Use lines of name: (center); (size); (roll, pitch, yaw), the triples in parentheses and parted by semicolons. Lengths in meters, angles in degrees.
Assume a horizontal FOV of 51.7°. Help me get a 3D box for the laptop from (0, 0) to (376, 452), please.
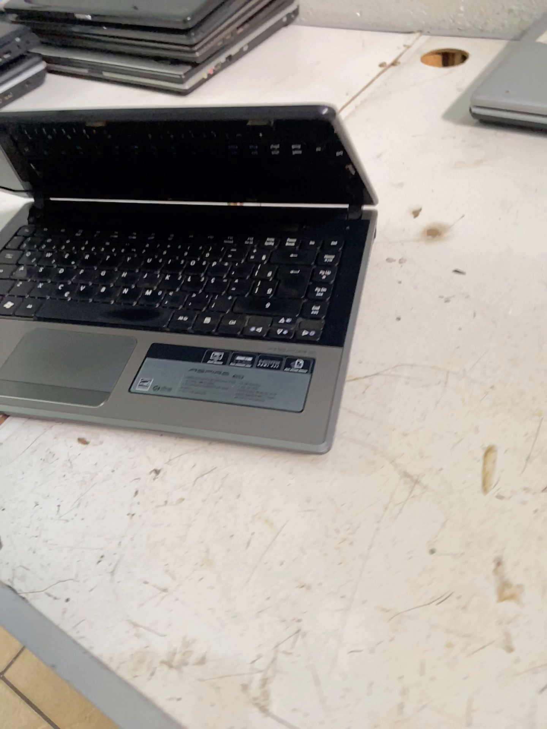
laptop: (-0.115, -0.101, 0.376); (0.334, 0.157, 0.227); (5, 50, 14)
